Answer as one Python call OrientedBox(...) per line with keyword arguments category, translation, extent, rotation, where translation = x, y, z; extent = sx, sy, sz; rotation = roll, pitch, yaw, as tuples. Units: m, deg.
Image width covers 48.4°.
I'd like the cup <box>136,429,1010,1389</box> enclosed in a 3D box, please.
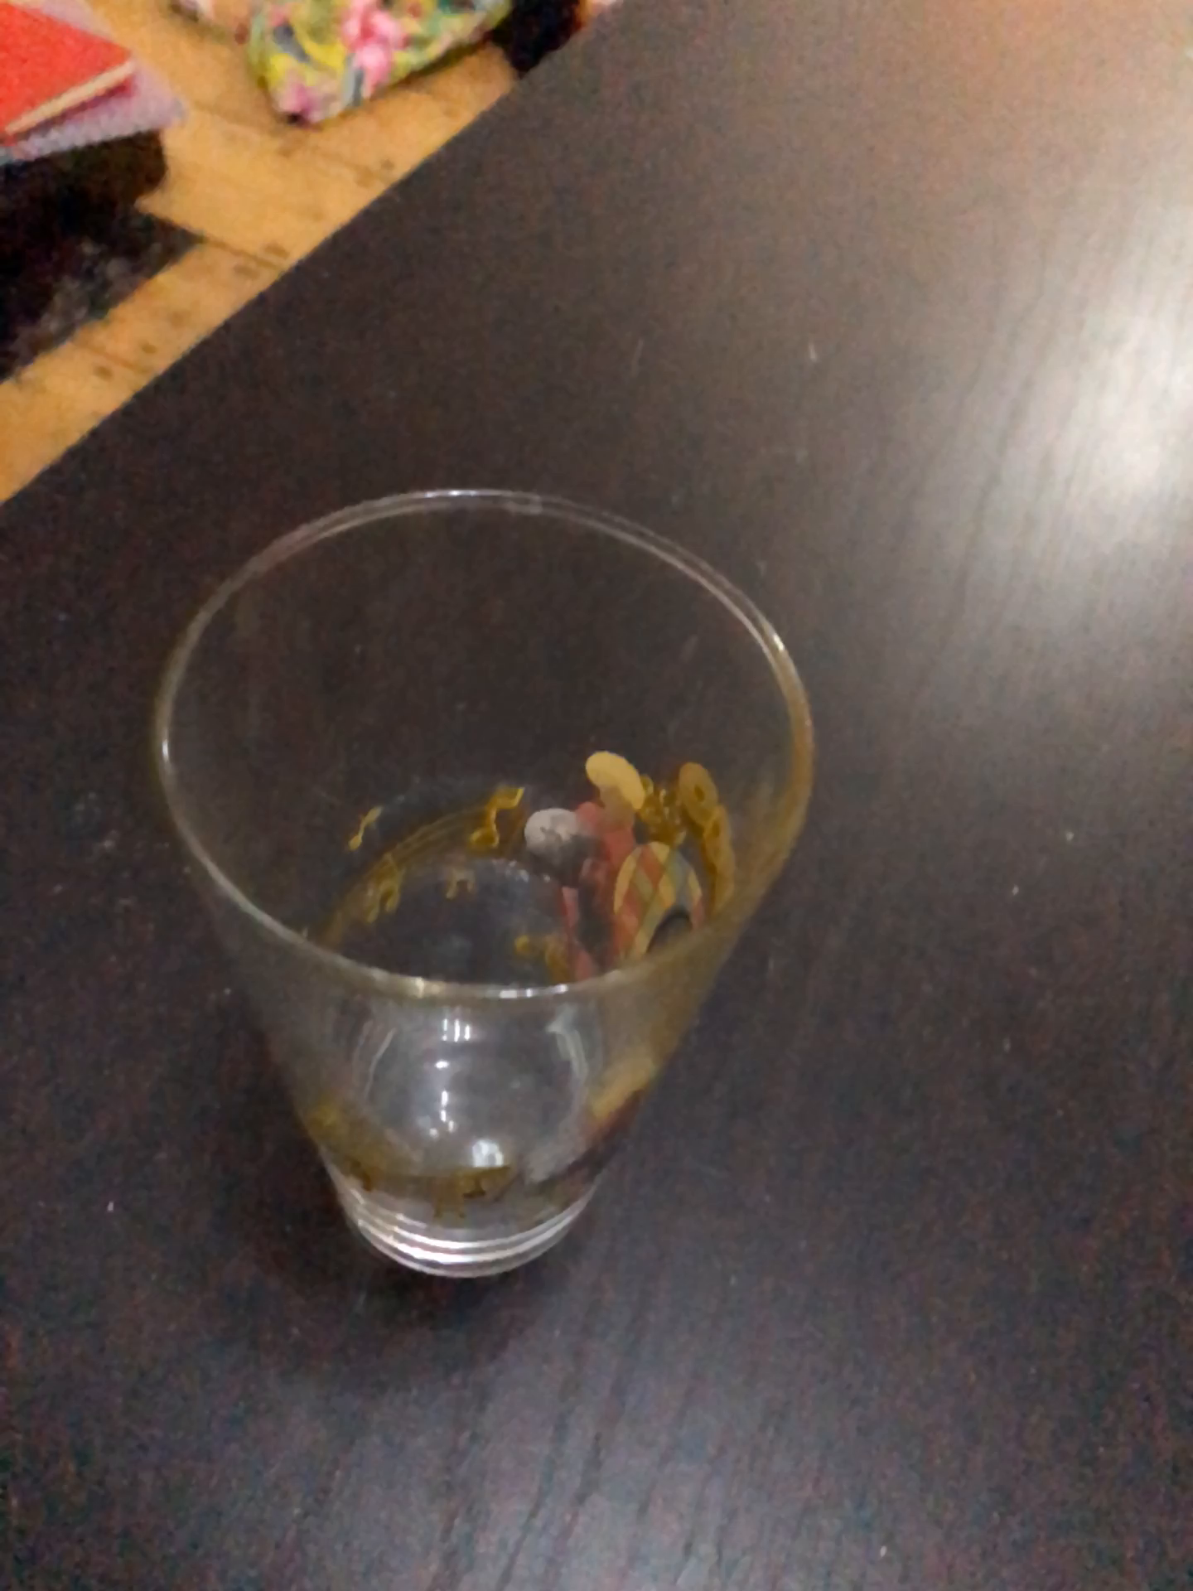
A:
OrientedBox(category="cup", translation=(-0.013, 0.021, 0.193), extent=(0.080, 0.109, 0.080), rotation=(4, 53, -5))
